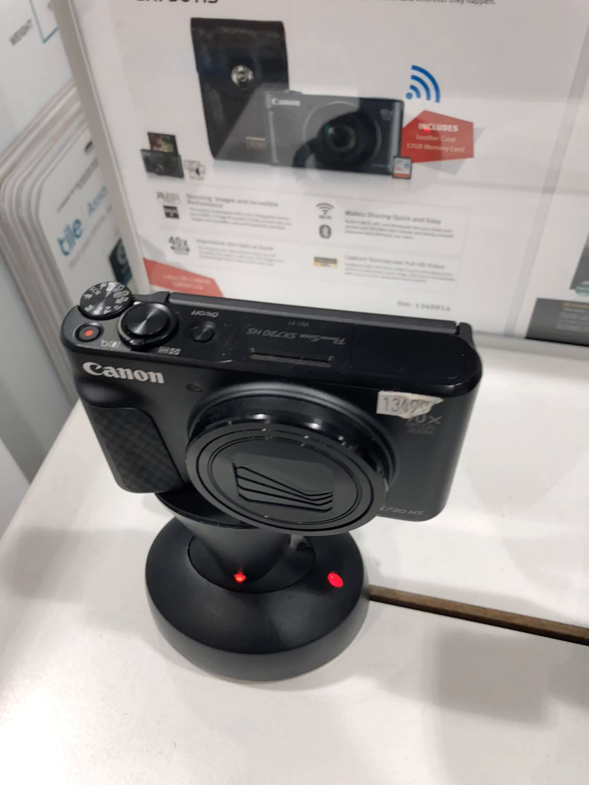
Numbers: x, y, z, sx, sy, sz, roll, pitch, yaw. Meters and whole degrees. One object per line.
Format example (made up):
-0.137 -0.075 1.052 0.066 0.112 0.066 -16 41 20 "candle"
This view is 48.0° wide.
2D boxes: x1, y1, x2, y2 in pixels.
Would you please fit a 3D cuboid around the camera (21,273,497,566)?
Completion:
-0.006 0.008 0.184 0.110 0.060 0.040 7 51 9 "camera"
